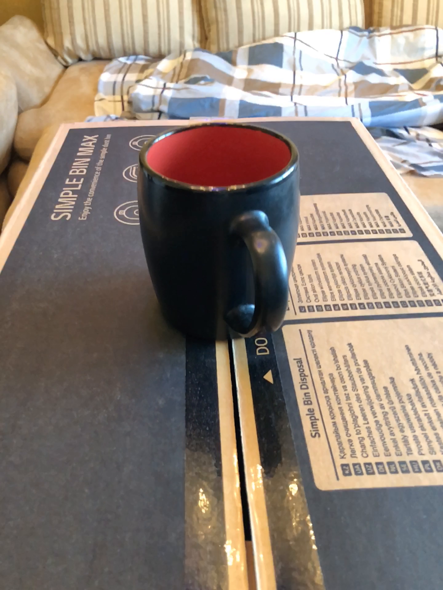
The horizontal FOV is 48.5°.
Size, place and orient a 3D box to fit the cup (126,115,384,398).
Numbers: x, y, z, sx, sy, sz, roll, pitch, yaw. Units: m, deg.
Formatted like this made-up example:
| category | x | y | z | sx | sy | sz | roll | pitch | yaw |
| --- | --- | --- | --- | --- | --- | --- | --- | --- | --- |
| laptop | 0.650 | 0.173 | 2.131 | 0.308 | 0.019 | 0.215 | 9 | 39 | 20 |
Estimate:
| category | x | y | z | sx | sy | sz | roll | pitch | yaw |
| --- | --- | --- | --- | --- | --- | --- | --- | --- | --- |
| cup | 0.007 | -0.029 | 0.268 | 0.090 | 0.090 | 0.121 | -10 | 41 | -14 |
